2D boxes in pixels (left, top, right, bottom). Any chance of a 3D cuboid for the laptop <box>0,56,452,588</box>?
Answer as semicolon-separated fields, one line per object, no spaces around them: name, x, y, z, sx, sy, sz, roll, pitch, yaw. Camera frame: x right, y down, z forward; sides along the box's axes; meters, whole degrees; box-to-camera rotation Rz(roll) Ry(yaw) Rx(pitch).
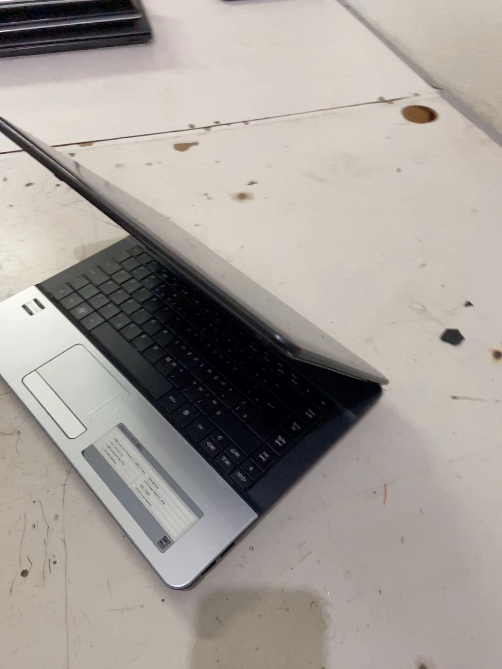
laptop;-0.077;-0.039;0.415;0.238;0.184;0.334;-37;60;-26
